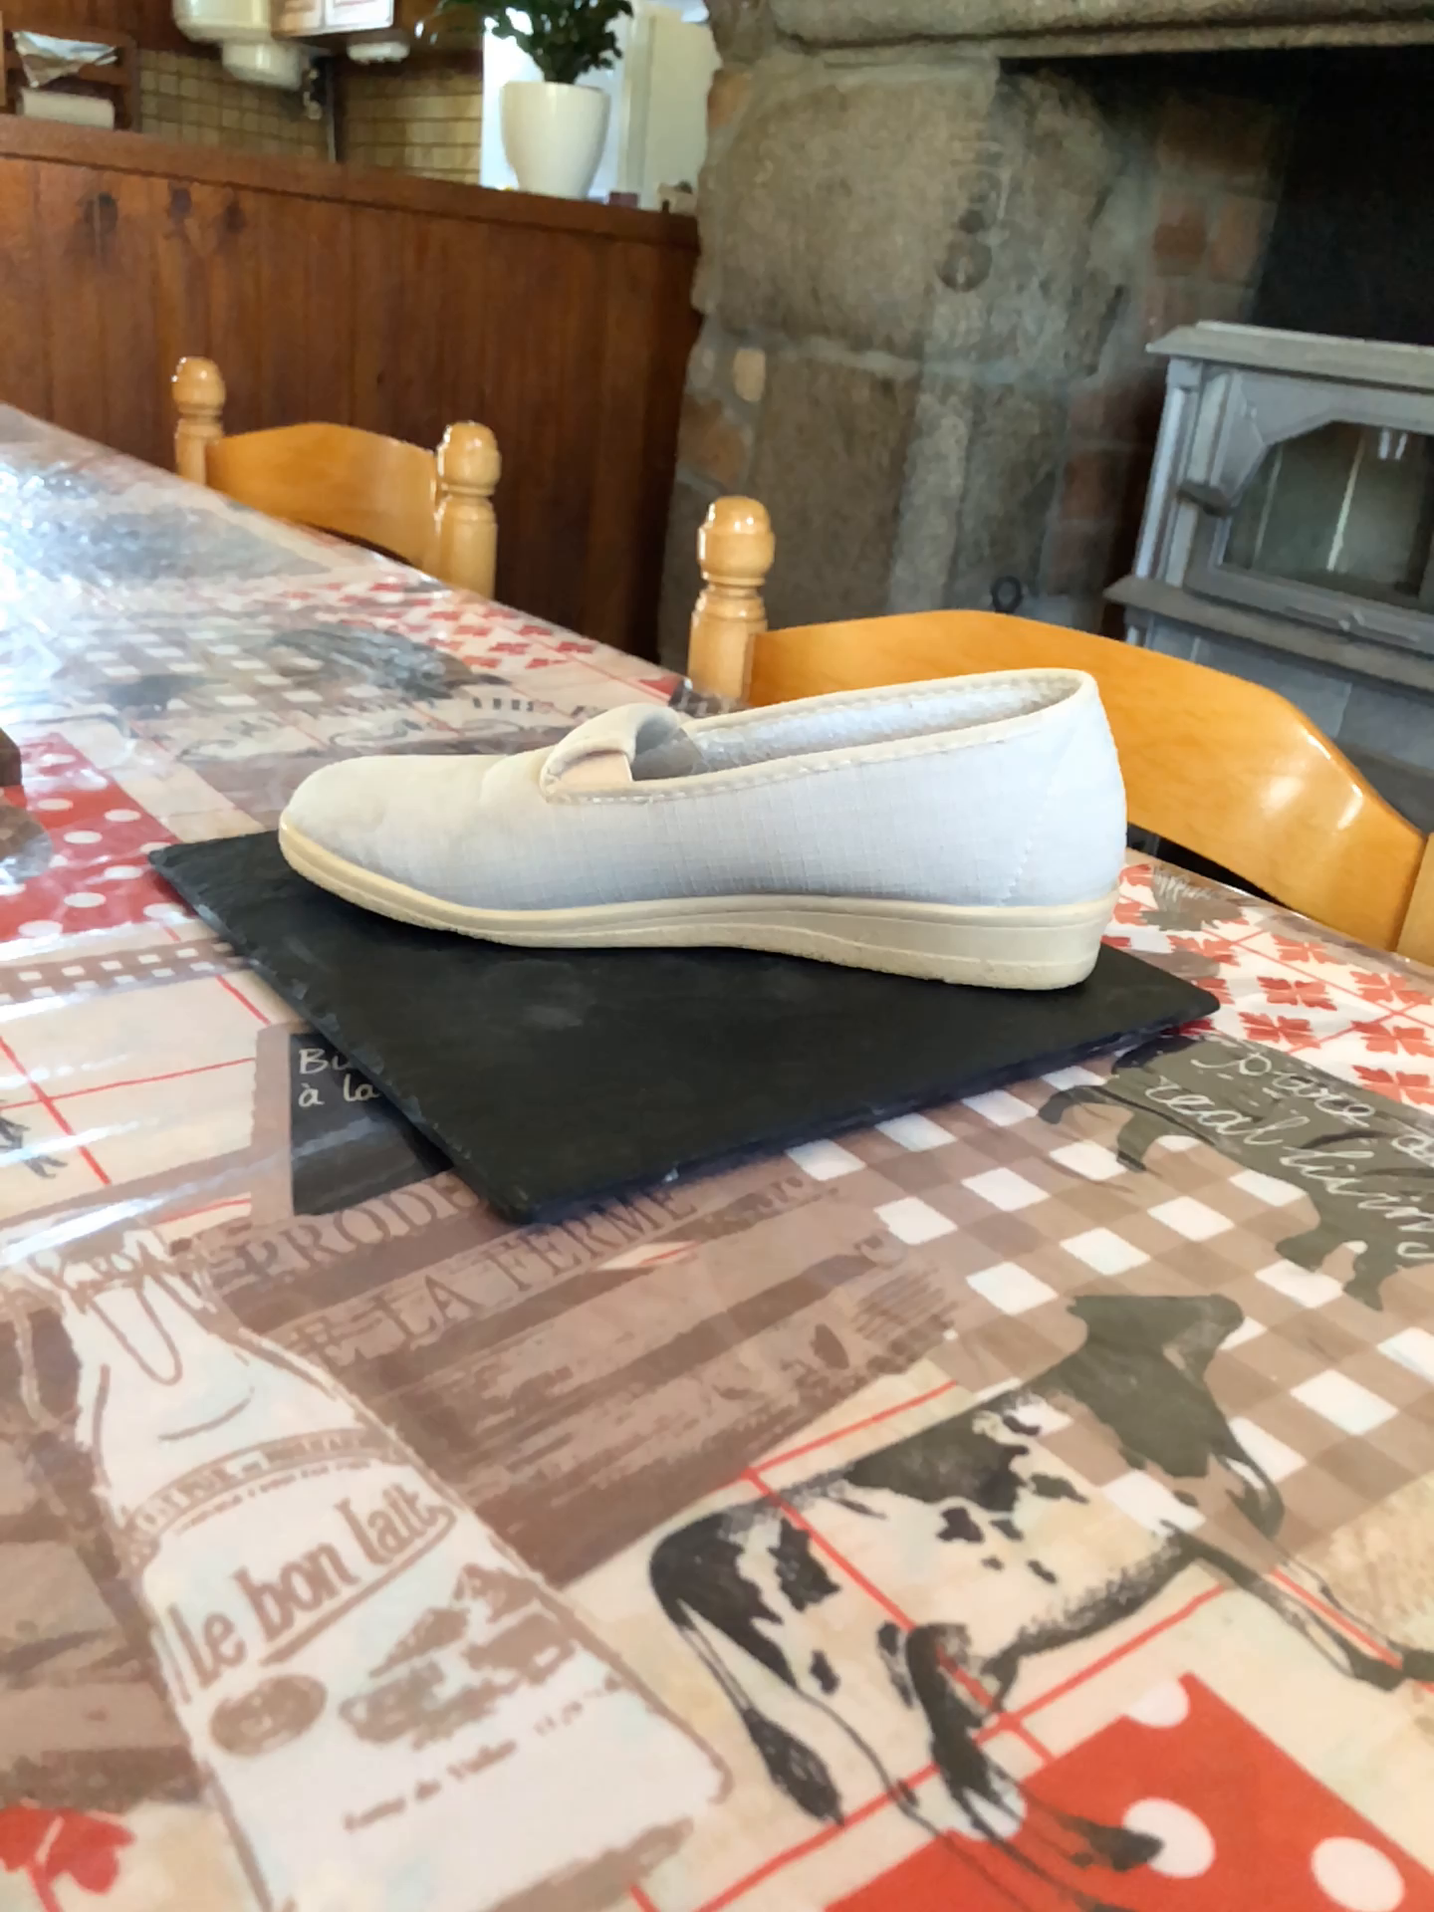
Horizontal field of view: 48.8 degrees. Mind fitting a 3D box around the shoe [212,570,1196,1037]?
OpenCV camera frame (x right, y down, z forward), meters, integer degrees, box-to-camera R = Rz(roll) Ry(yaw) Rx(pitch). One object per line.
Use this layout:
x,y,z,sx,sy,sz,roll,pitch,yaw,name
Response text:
-0.004,-0.050,0.459,0.250,0.080,0.101,7,22,2,shoe
